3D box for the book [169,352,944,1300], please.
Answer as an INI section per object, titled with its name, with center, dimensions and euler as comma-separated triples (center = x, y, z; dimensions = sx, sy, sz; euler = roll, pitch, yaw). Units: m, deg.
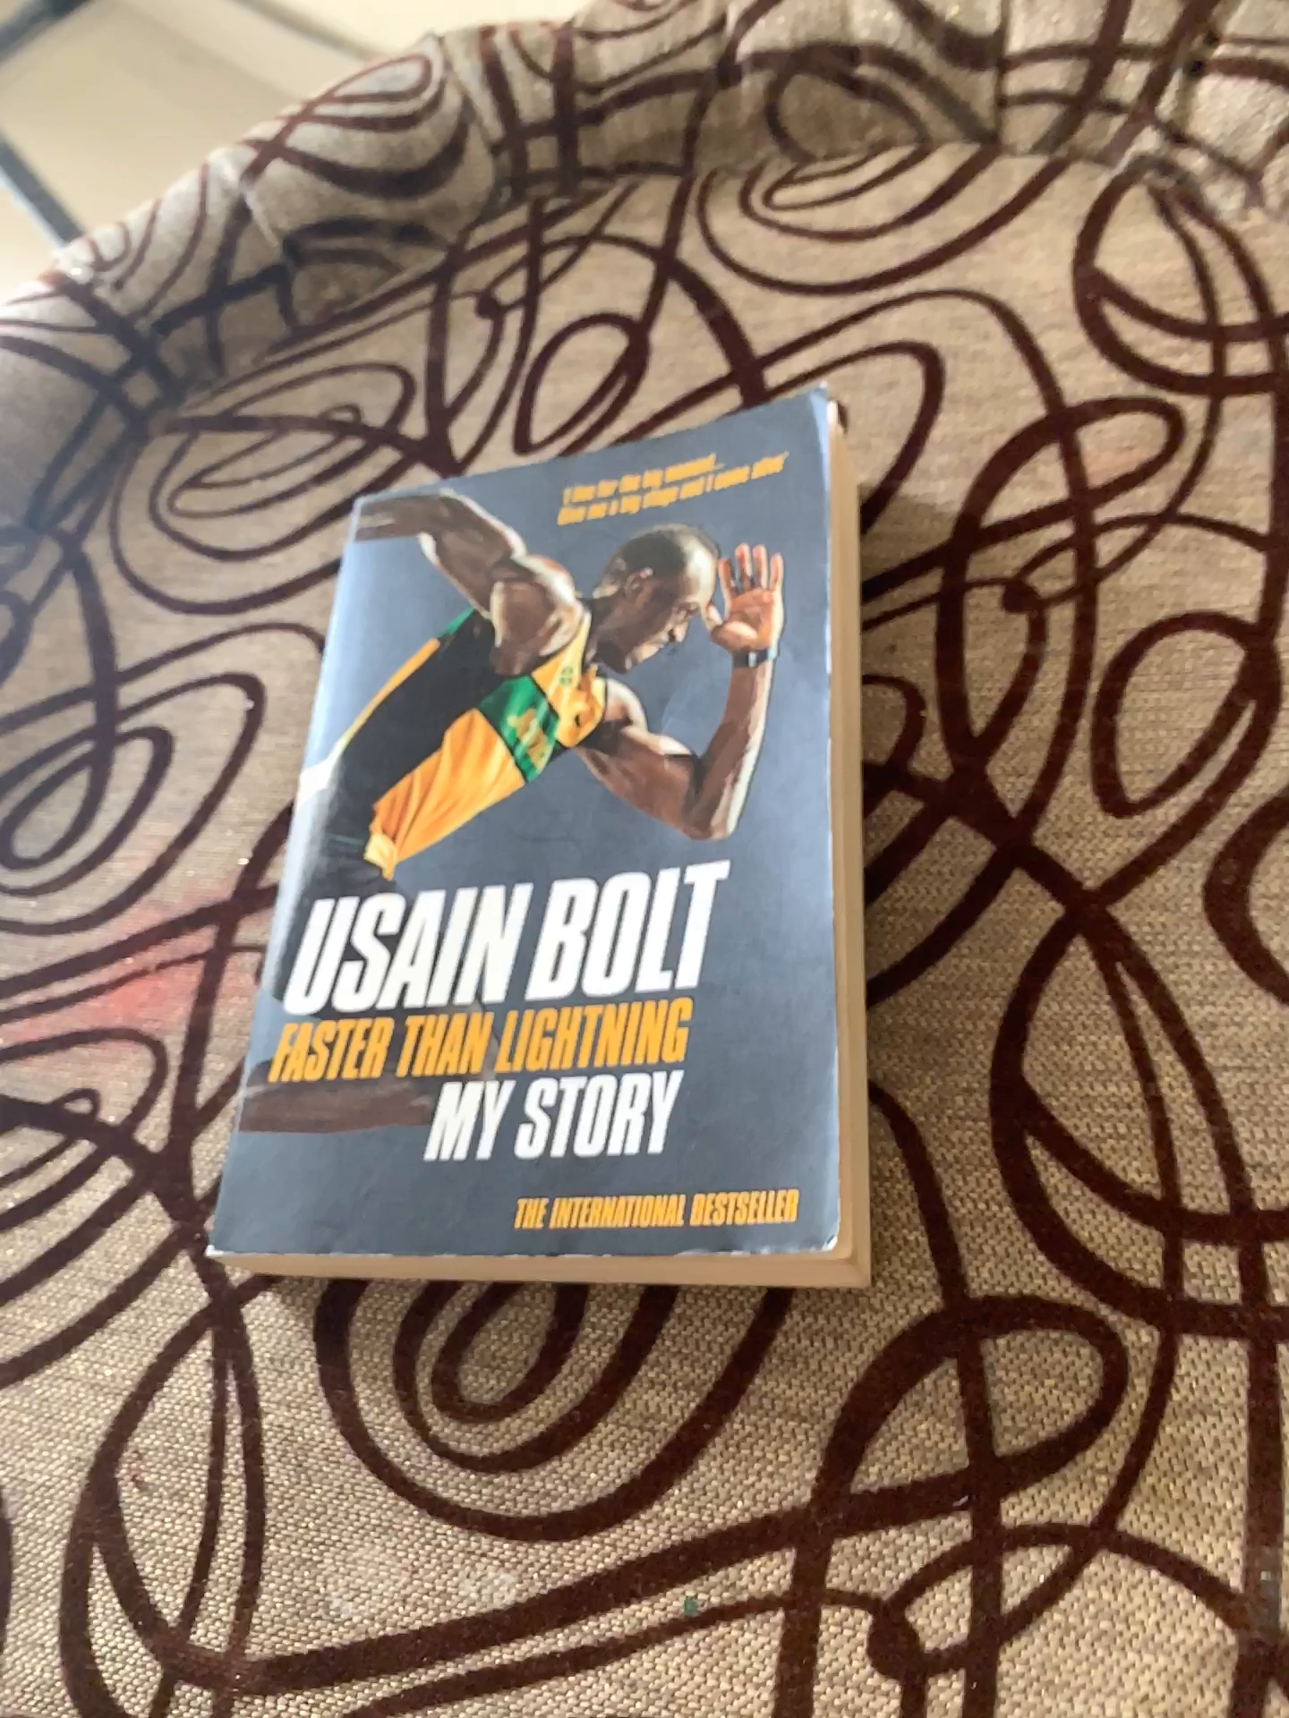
[book]
center = -0.012, -0.012, 0.291
dimensions = 0.140, 0.030, 0.201
euler = -6, 61, 18
